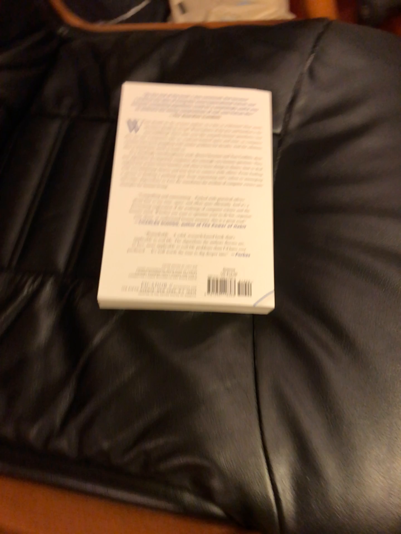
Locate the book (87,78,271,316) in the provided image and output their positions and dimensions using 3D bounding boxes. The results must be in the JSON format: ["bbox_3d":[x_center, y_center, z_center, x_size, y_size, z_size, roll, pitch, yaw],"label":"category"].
[{"bbox_3d":[-0.014,-0.079,0.435,0.160,0.020,0.251,3,69,0],"label":"book"}]
